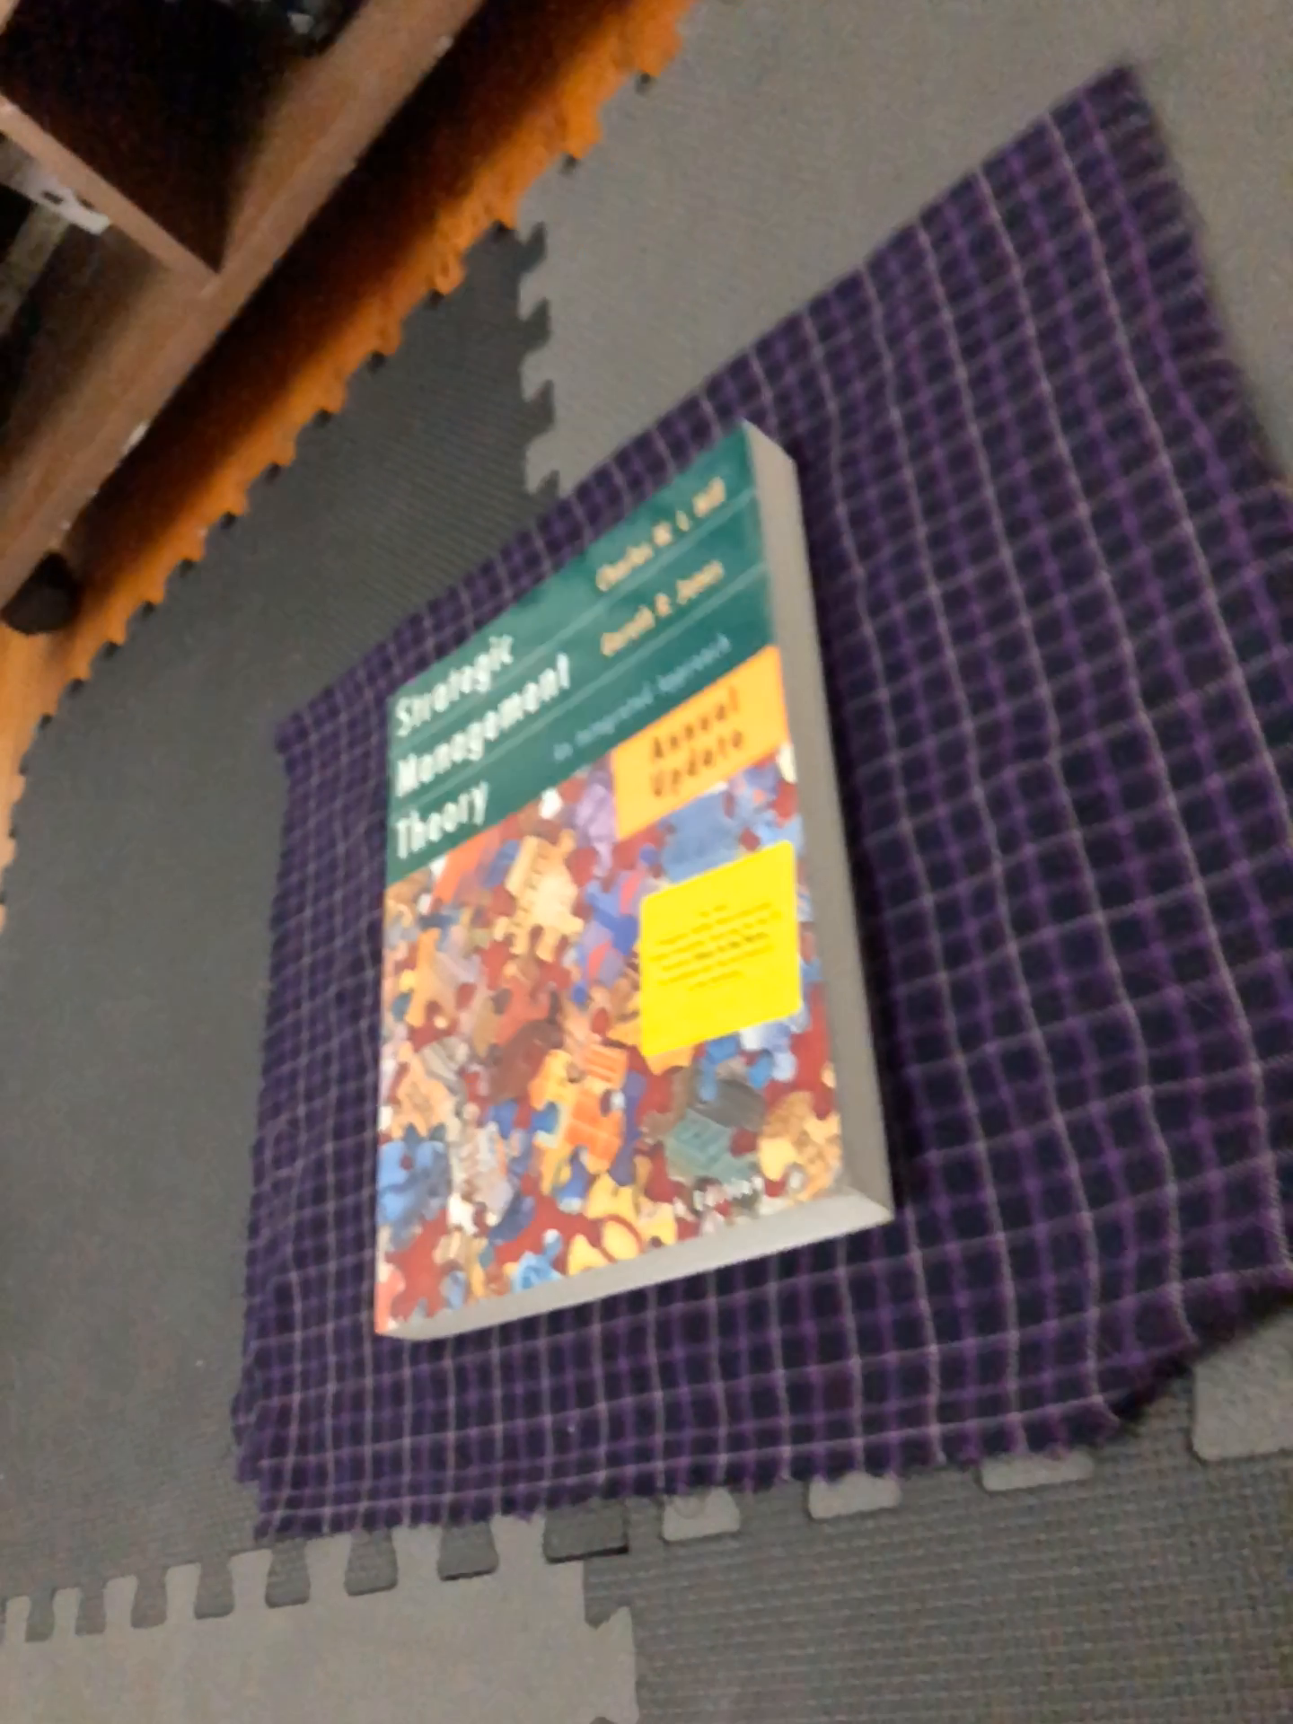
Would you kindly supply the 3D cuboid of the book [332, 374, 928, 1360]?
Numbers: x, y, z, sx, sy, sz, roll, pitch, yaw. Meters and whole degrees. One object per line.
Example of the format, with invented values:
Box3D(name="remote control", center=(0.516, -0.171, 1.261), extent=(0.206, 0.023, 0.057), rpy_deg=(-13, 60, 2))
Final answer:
Box3D(name="book", center=(-0.028, 0.010, 0.503), extent=(0.231, 0.040, 0.281), rpy_deg=(-29, 55, 40))
